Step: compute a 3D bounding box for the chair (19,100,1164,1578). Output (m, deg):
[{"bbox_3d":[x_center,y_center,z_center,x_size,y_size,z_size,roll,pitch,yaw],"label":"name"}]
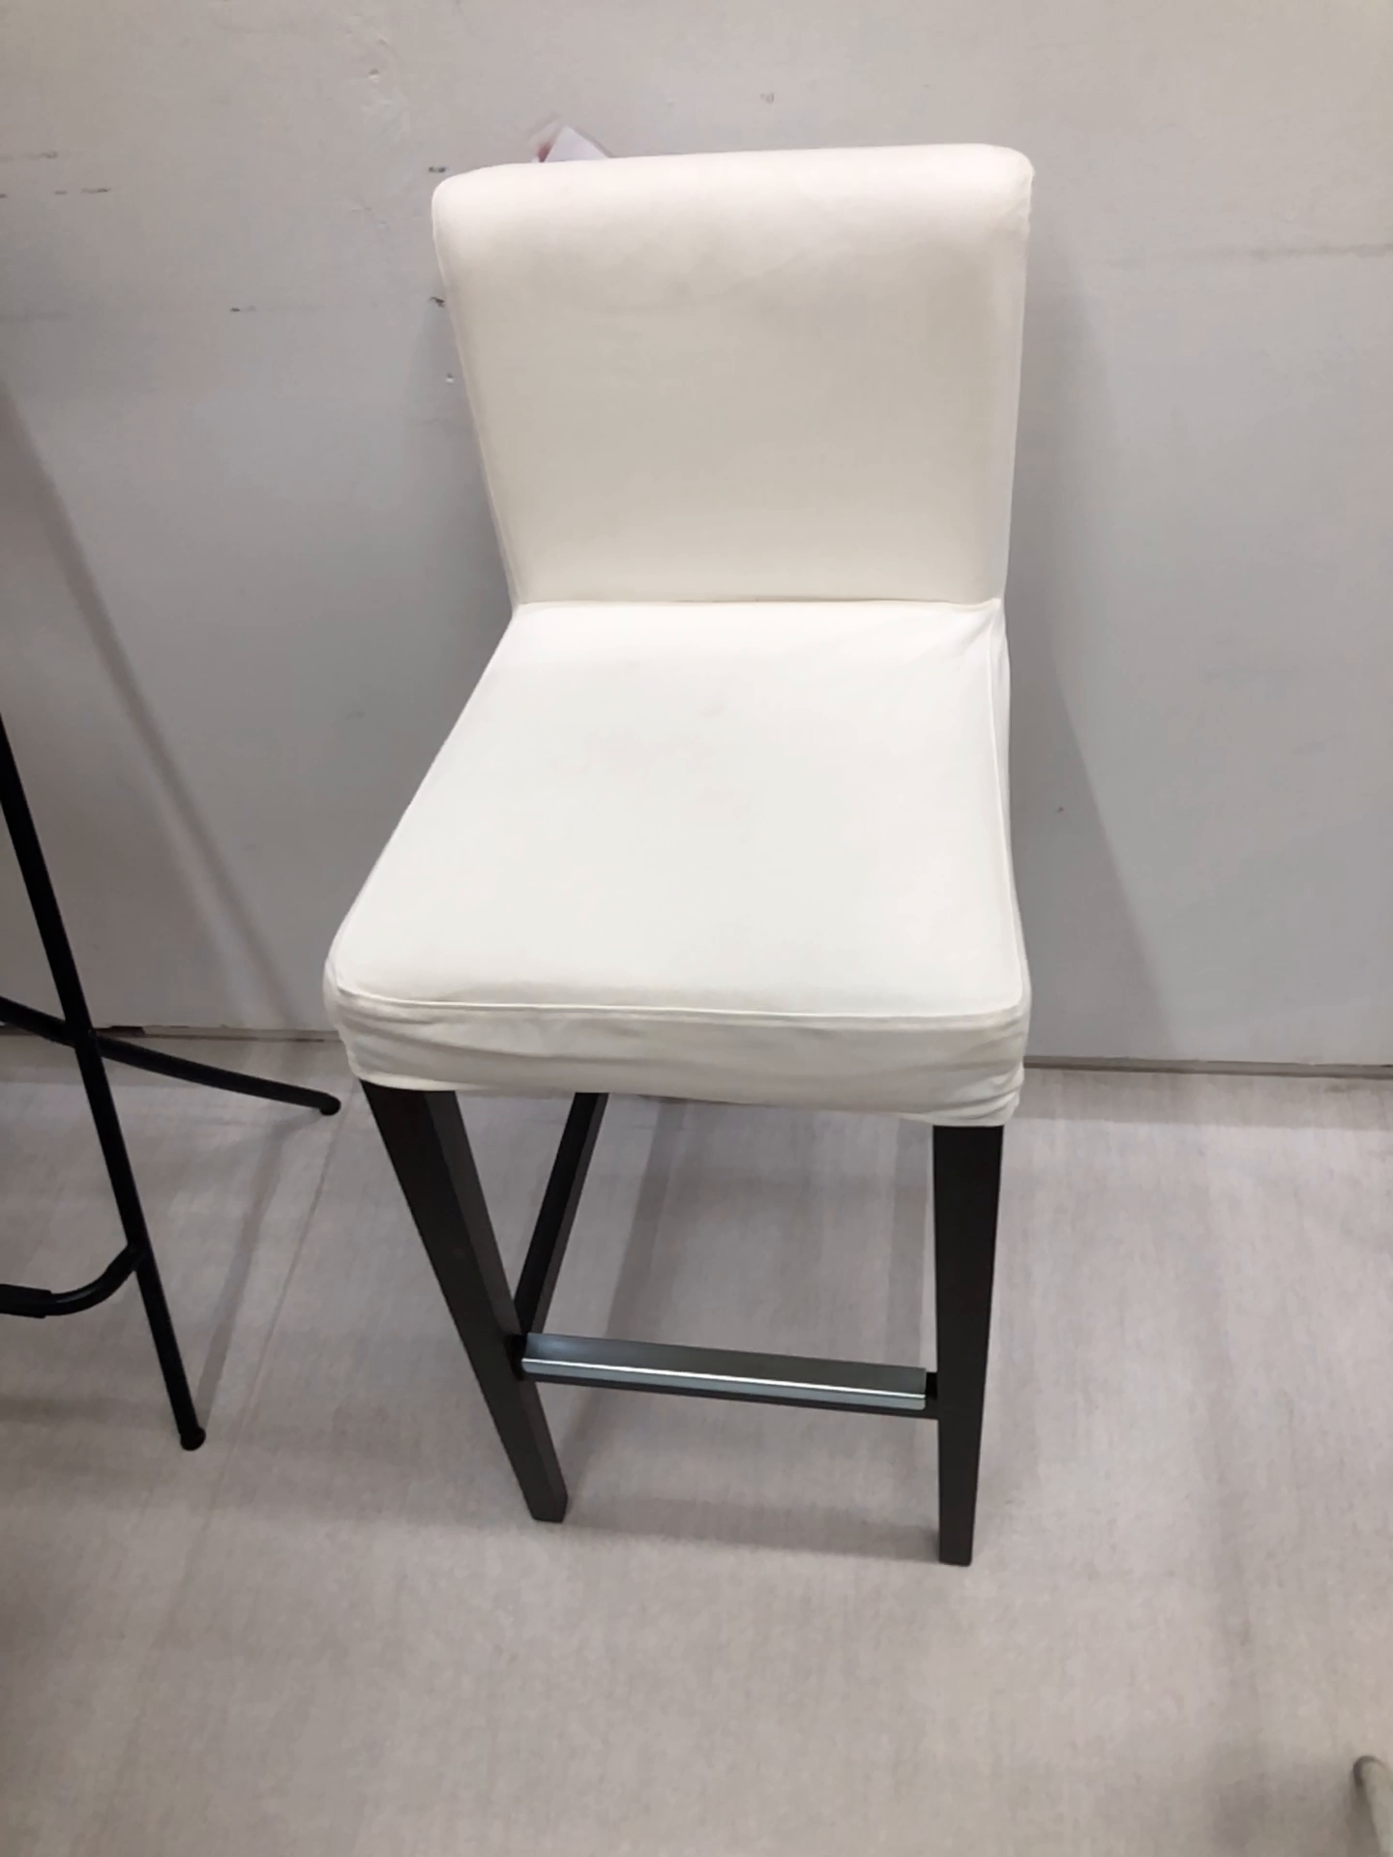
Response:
[{"bbox_3d":[0.027,-0.004,1.060,0.440,0.855,0.533,1,47,10],"label":"chair"}]
